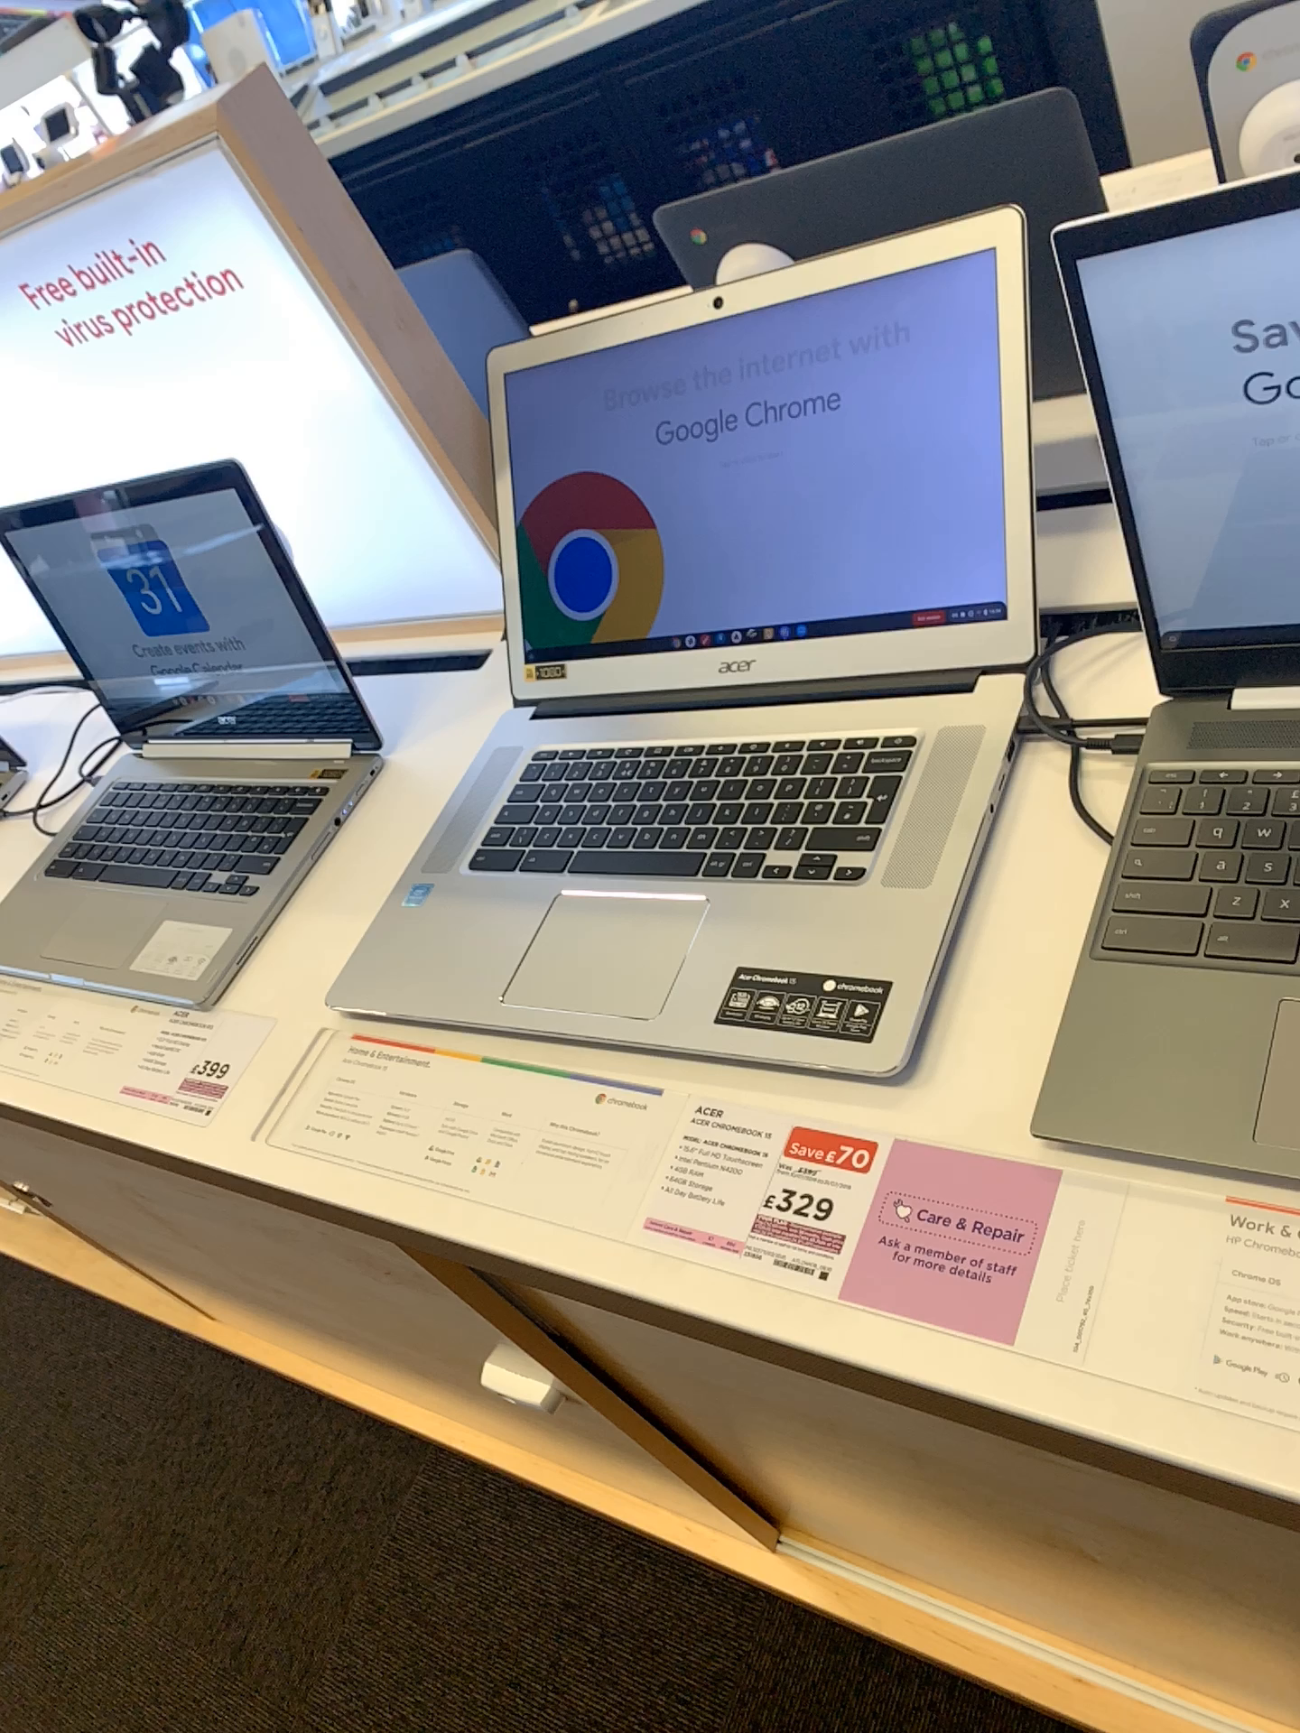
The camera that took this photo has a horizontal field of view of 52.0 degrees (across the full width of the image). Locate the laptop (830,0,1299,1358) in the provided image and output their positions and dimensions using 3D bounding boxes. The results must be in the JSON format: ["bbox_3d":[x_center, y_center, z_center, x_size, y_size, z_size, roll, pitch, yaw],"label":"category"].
[{"bbox_3d":[0.300,-0.067,0.426,0.359,0.233,0.268,2,52,35],"label":"laptop"}]

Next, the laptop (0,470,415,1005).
[{"bbox_3d":[-0.408,-0.089,0.964,0.308,0.216,0.278,2,51,36],"label":"laptop"}]

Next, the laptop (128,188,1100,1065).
[{"bbox_3d":[0.000,-0.133,0.751,0.377,0.174,0.427,0,51,35],"label":"laptop"}]
